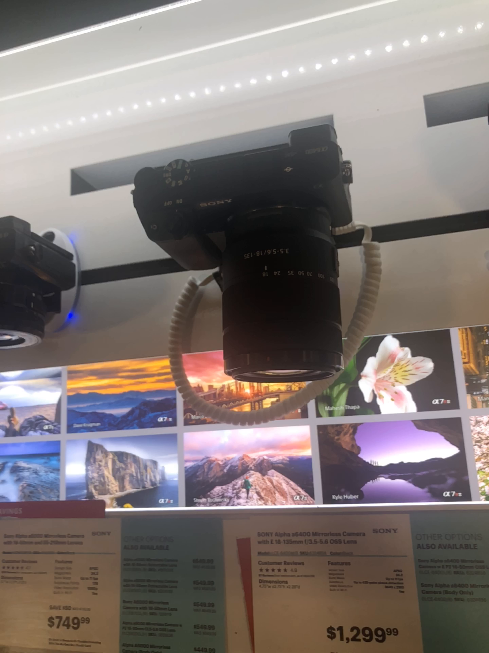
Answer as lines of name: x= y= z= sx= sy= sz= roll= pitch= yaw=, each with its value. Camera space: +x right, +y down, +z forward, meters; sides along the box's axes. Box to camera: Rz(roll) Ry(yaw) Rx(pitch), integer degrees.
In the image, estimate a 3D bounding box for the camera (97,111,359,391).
camera: x=-0.008 y=-0.034 z=0.315 sx=0.130 sy=0.070 sz=0.130 roll=-5 pitch=78 yaw=16
